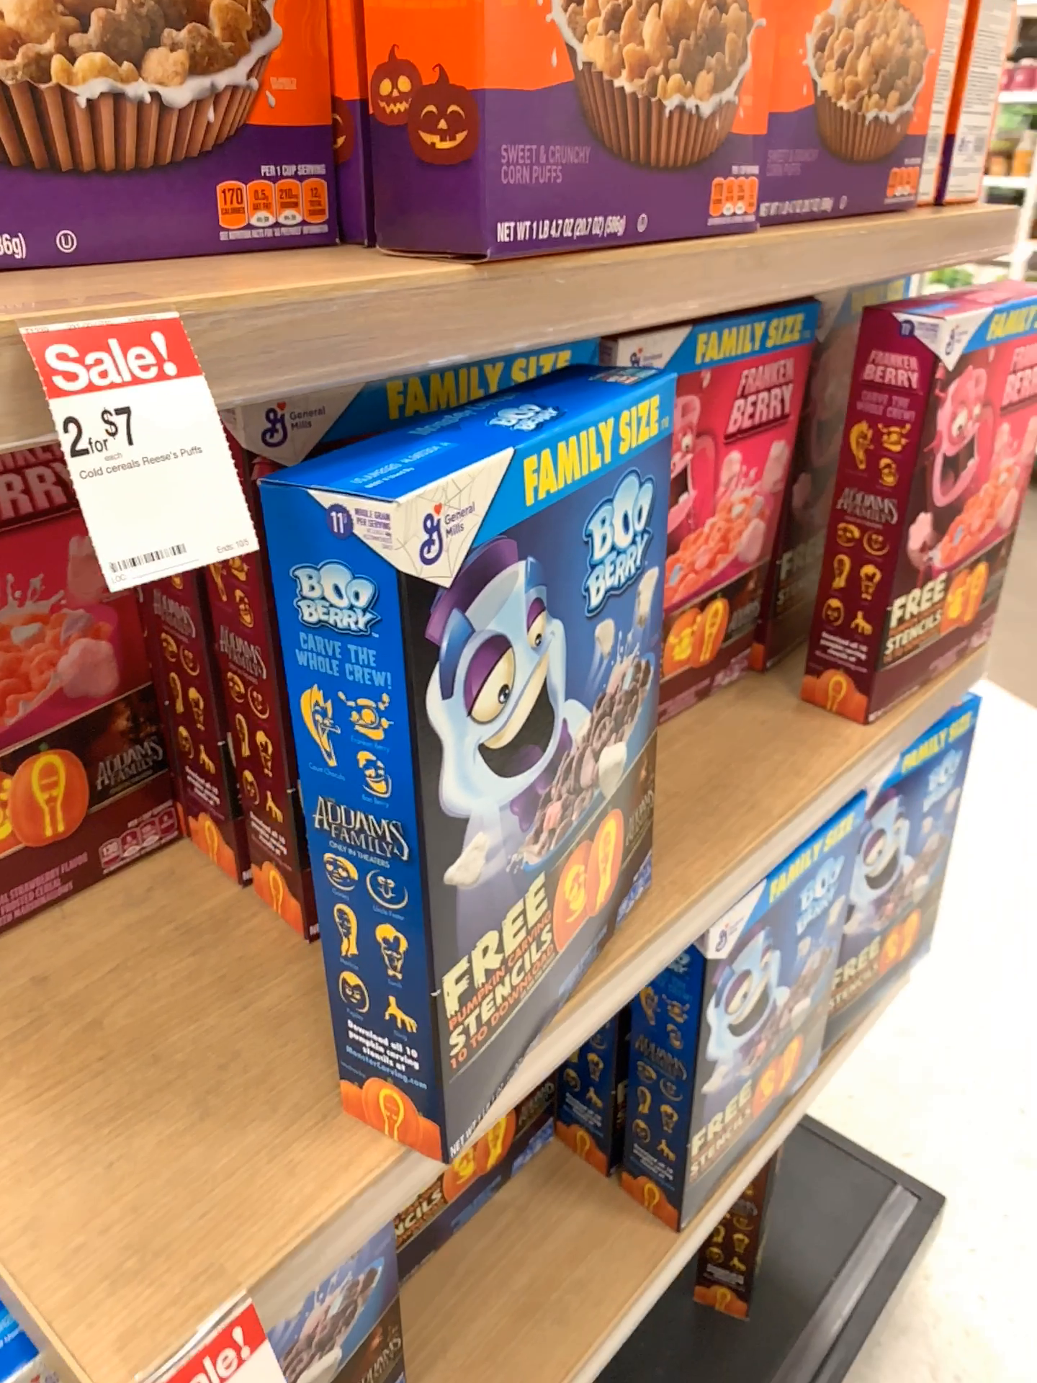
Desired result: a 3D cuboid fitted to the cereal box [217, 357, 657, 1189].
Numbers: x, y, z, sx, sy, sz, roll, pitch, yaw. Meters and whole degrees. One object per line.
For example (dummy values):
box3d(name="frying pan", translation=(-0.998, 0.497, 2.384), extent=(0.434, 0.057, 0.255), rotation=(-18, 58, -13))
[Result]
box3d(name="cereal box", translation=(-0.013, 0.023, 0.504), extent=(0.060, 0.308, 0.241), rotation=(12, 29, 26))
